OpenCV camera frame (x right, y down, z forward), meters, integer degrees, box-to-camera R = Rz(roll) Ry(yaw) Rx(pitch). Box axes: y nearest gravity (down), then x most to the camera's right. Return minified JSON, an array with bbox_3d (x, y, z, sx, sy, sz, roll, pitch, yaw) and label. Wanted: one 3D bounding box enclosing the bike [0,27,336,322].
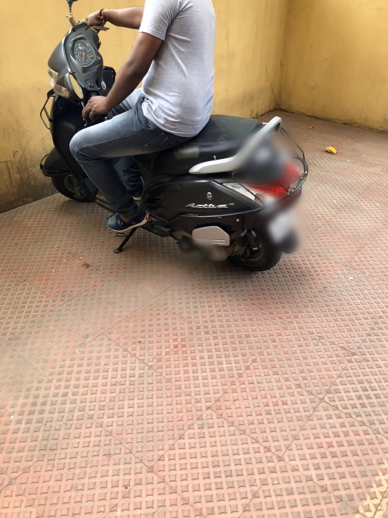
[{"bbox_3d":[-0.289,-0.534,2.099,1.546,1.016,0.697,19,37,29],"label":"bike"}]
